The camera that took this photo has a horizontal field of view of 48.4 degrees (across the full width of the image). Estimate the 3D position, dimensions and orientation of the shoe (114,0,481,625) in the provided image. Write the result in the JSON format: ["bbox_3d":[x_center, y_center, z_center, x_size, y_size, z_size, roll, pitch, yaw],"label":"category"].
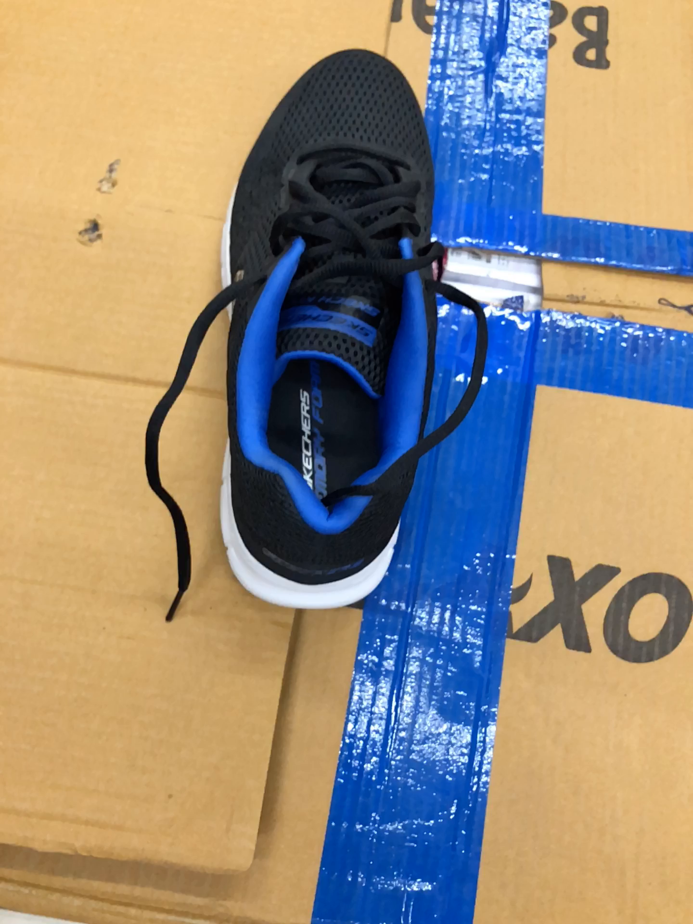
[{"bbox_3d":[-0.012,-0.076,0.350,0.114,0.106,0.278,6,74,-1],"label":"shoe"}]
